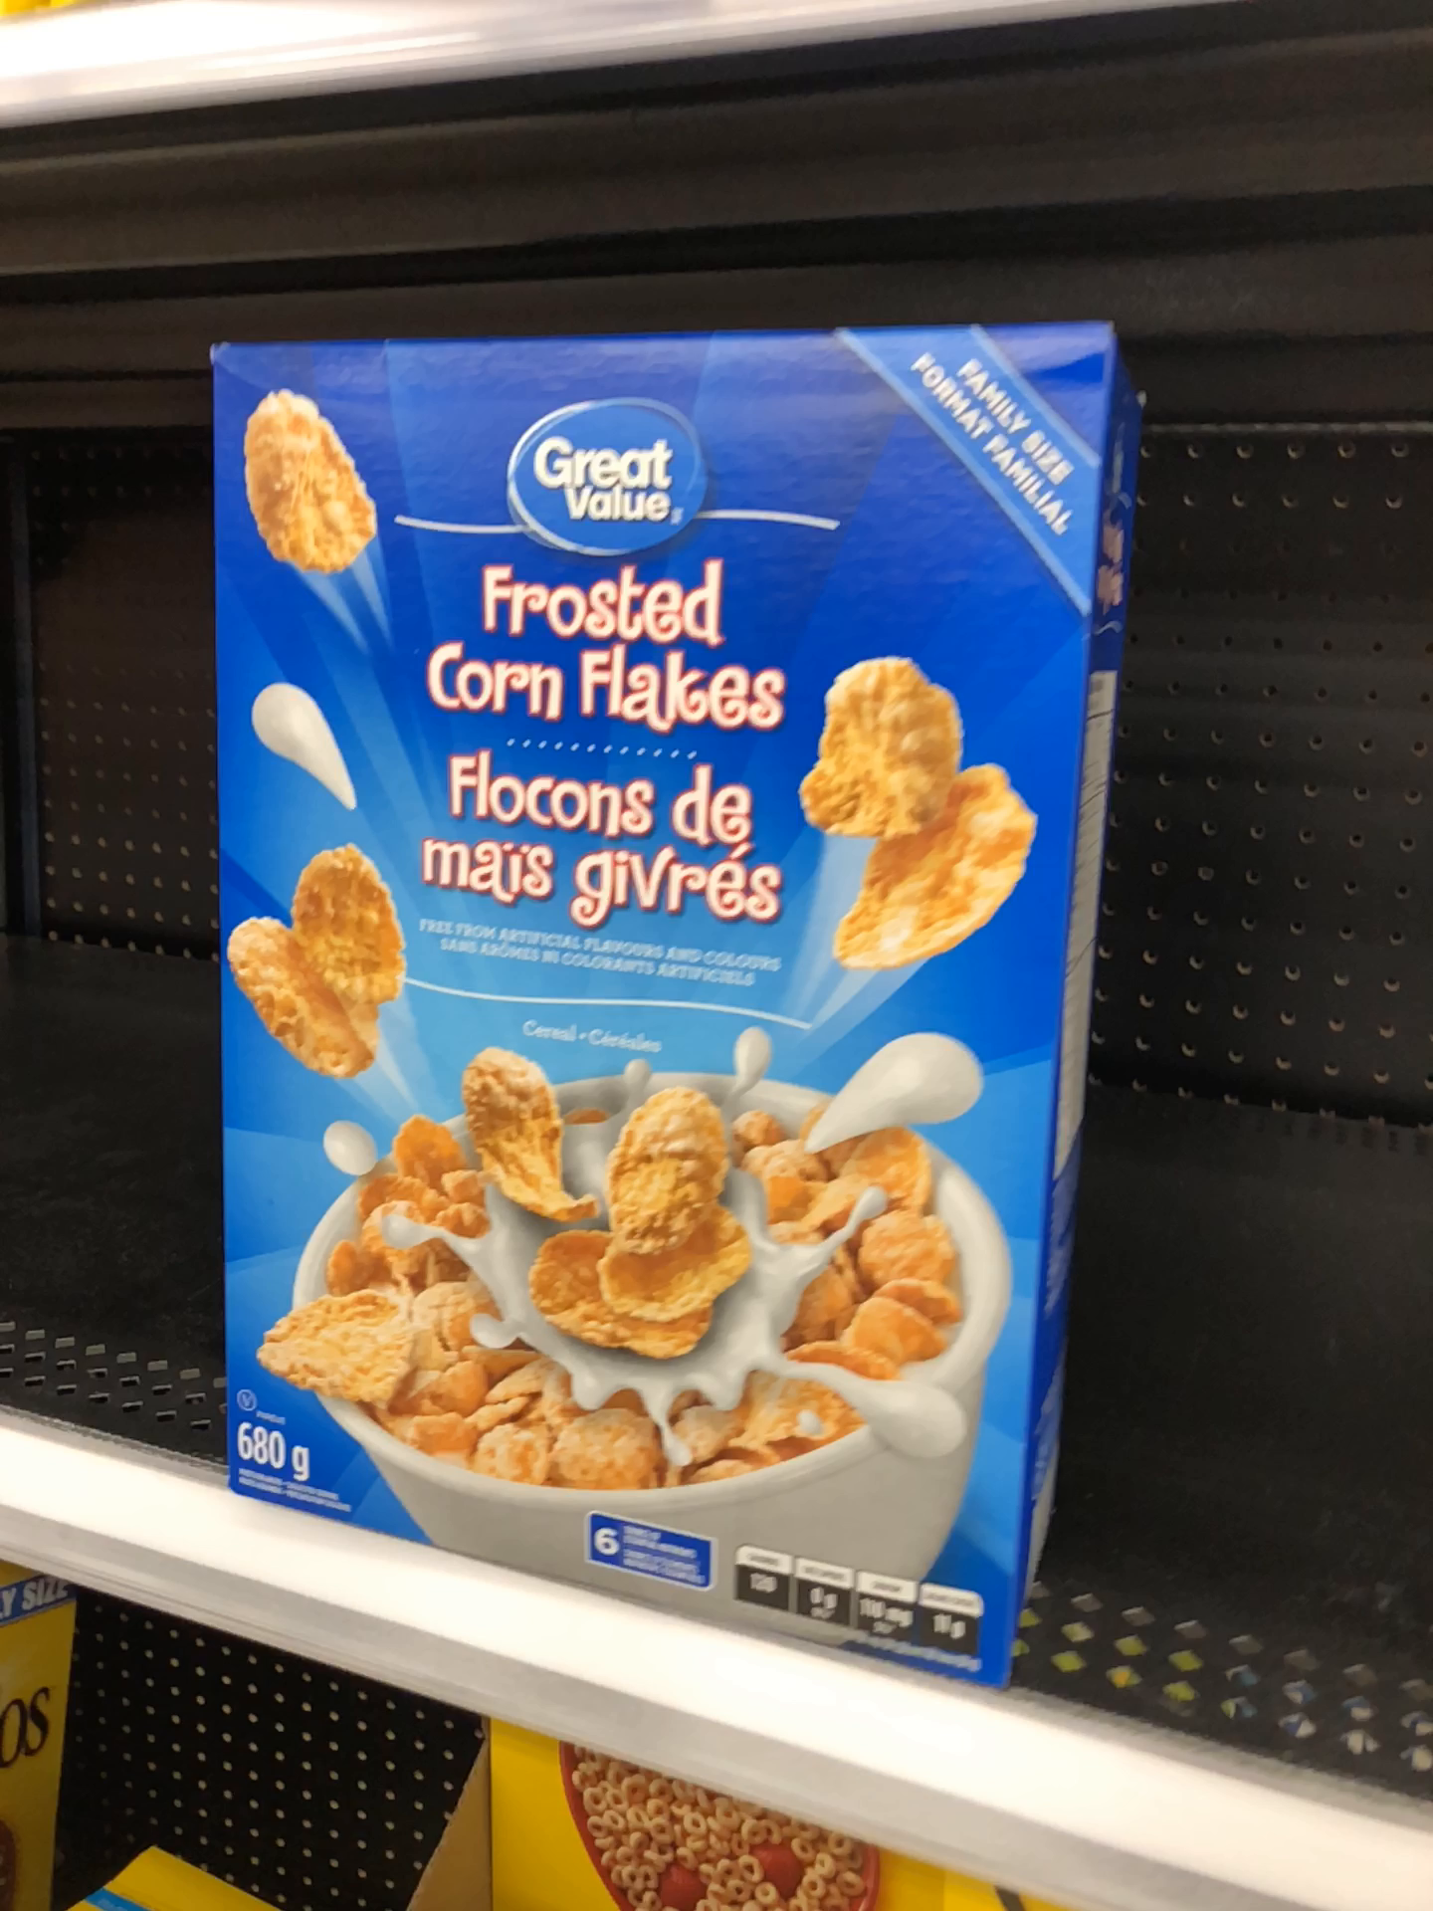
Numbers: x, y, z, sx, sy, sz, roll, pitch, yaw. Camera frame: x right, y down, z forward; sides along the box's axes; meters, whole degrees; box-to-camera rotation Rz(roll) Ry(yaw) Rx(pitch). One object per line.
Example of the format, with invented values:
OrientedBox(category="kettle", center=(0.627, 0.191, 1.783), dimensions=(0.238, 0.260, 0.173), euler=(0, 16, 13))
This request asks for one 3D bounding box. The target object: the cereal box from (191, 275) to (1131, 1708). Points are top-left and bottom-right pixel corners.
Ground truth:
OrientedBox(category="cereal box", center=(-0.019, 0.002, 0.405), dimensions=(0.210, 0.309, 0.080), euler=(6, 10, 18))
